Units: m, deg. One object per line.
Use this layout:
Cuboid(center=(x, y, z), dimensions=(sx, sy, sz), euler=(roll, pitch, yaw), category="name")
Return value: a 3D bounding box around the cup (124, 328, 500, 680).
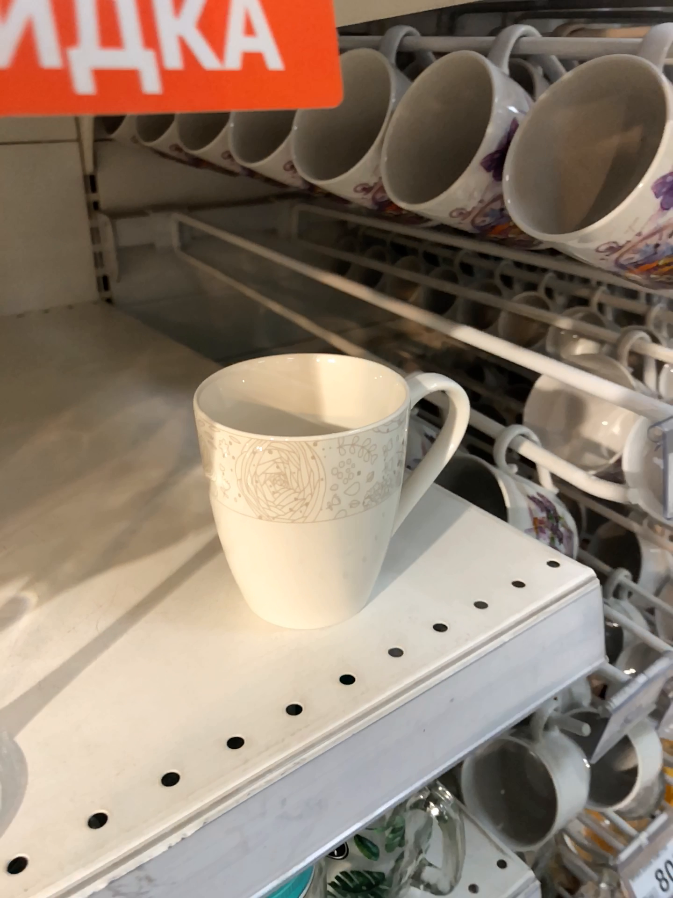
Cuboid(center=(-0.011, 0.014, 0.326), dimensions=(0.126, 0.091, 0.090), euler=(-17, 31, -30), category="cup")
